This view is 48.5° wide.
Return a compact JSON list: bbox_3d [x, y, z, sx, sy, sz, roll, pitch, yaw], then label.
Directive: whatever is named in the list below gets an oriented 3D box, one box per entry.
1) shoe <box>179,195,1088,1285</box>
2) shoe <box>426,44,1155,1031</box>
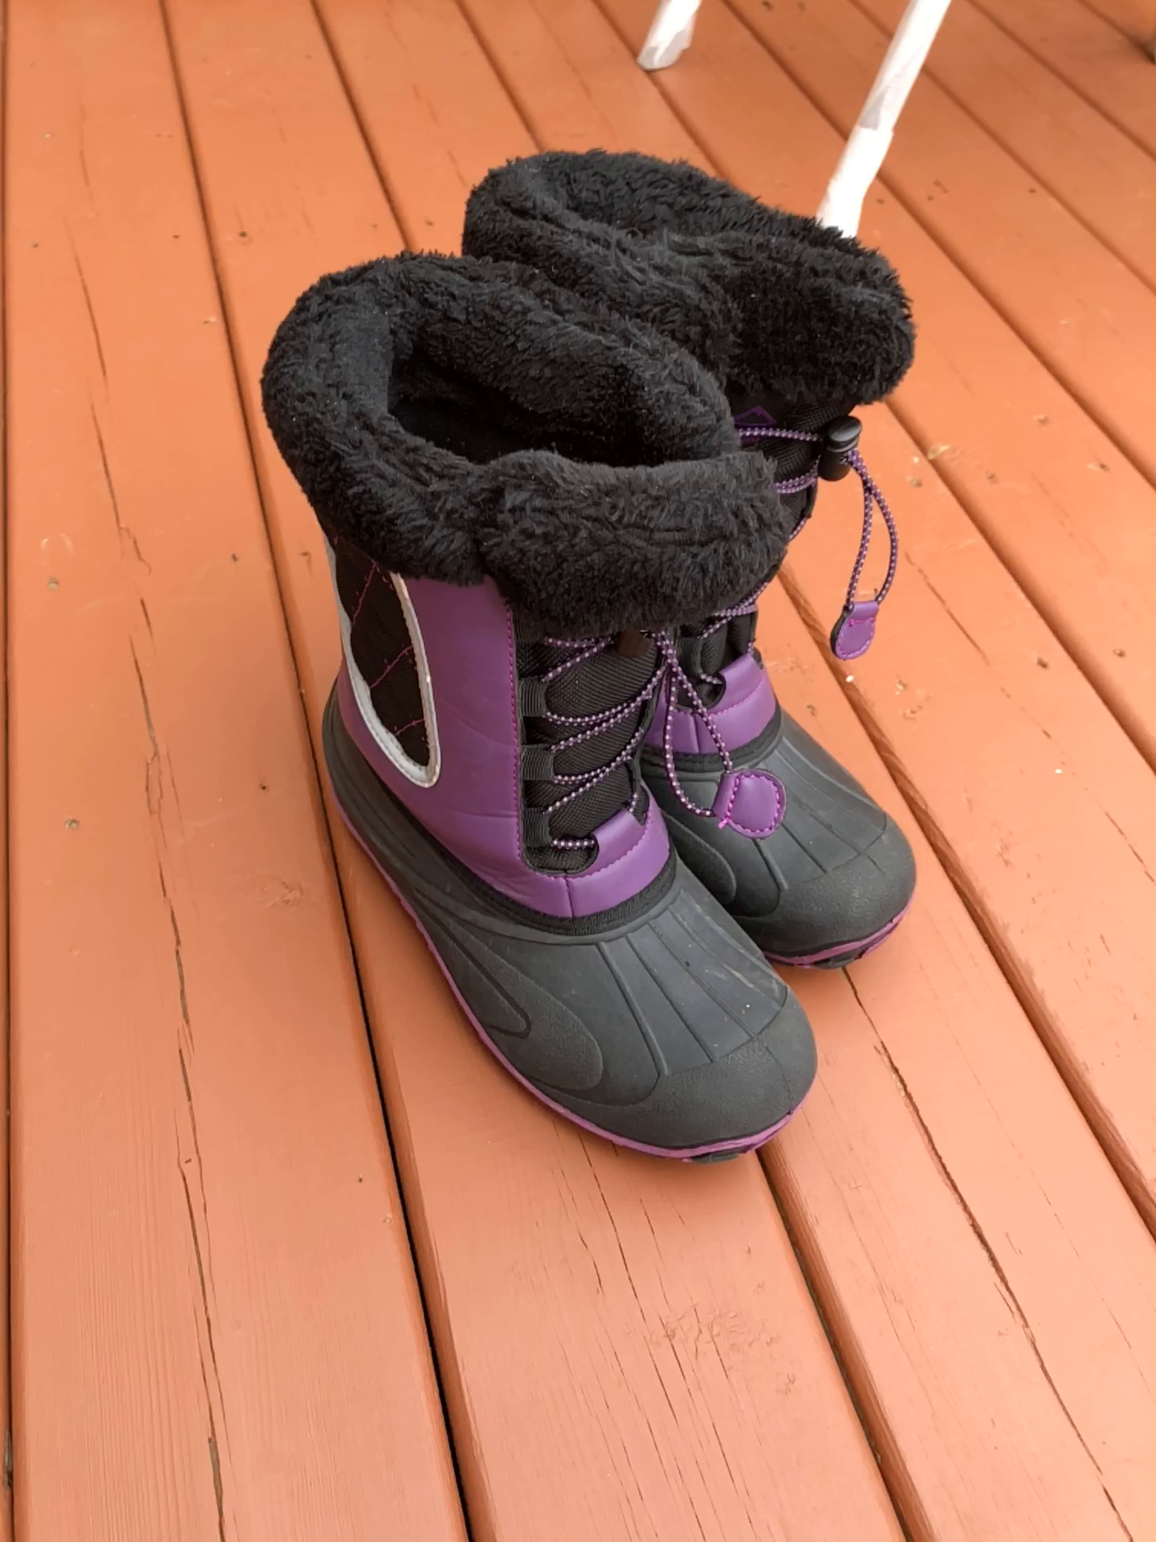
[{"bbox_3d":[-0.007,-0.002,0.453,0.120,0.279,0.240,-29,58,-27],"label":"shoe"},{"bbox_3d":[0.063,-0.083,0.507,0.120,0.279,0.240,-33,60,-29],"label":"shoe"}]
